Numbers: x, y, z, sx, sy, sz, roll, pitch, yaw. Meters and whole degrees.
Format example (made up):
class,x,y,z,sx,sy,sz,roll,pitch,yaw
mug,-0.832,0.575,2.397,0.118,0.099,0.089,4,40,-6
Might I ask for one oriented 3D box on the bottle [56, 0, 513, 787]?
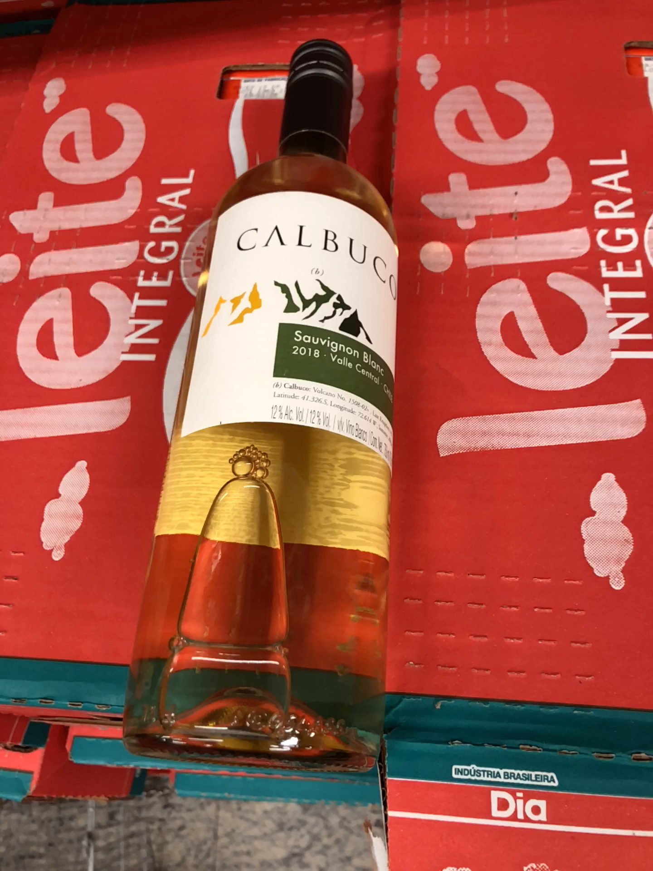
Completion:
class,x,y,z,sx,sy,sz,roll,pitch,yaw
bottle,-0.009,-0.042,0.258,0.090,0.100,0.291,16,63,-25
